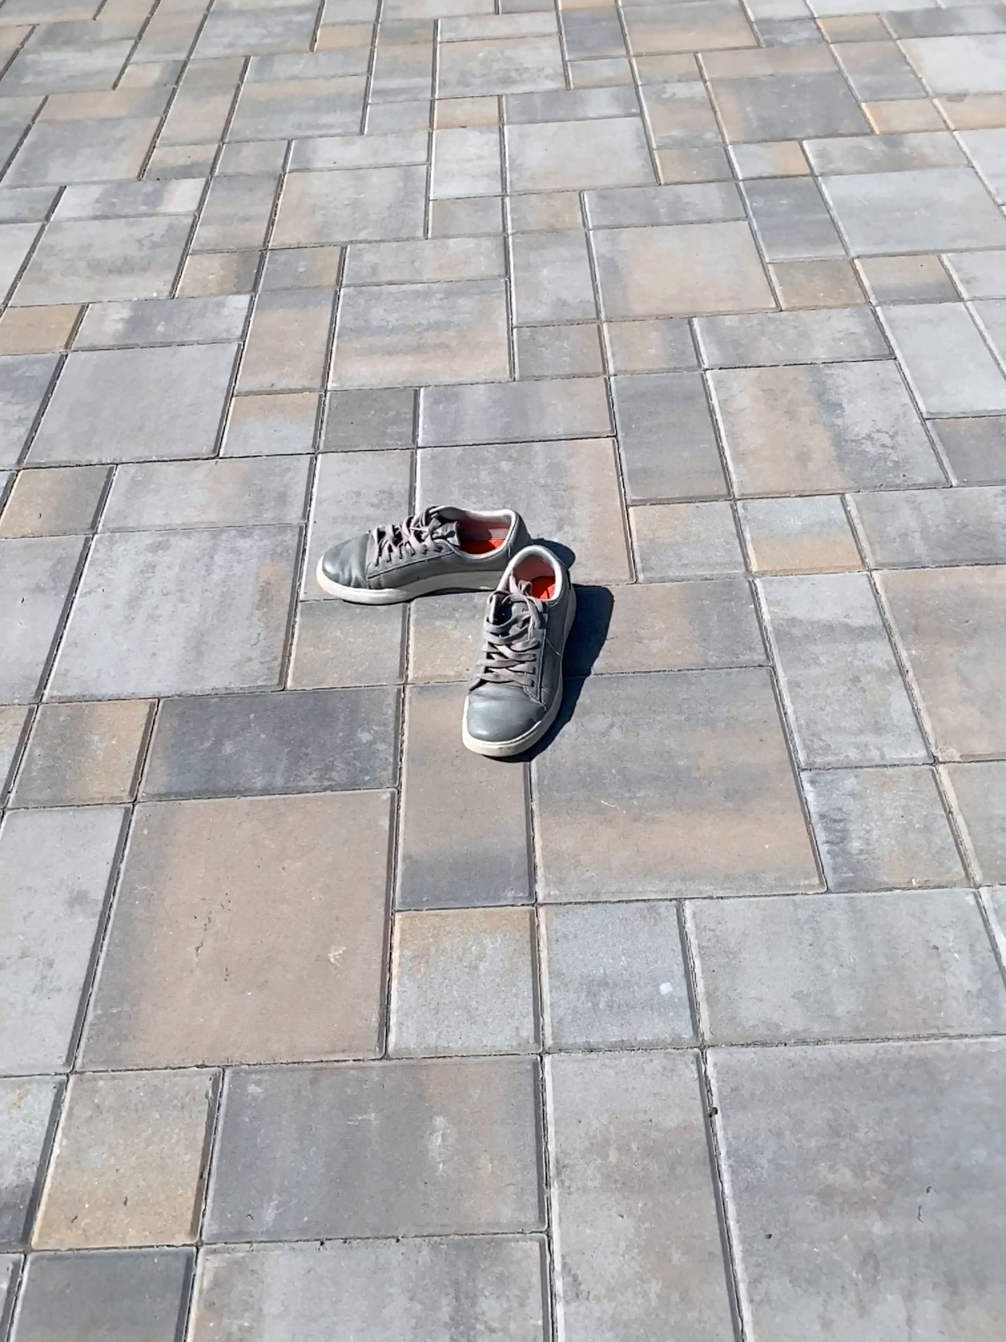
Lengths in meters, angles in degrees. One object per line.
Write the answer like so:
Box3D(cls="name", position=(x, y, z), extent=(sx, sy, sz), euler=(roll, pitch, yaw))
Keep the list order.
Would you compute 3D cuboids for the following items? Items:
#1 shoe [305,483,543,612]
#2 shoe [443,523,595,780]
Box3D(cls="shoe", position=(-0.102, -0.164, 1.364), extent=(0.300, 0.090, 0.120), euler=(-4, 51, 0))
Box3D(cls="shoe", position=(0.027, -0.031, 1.244), extent=(0.120, 0.110, 0.301), euler=(8, 52, 10))
